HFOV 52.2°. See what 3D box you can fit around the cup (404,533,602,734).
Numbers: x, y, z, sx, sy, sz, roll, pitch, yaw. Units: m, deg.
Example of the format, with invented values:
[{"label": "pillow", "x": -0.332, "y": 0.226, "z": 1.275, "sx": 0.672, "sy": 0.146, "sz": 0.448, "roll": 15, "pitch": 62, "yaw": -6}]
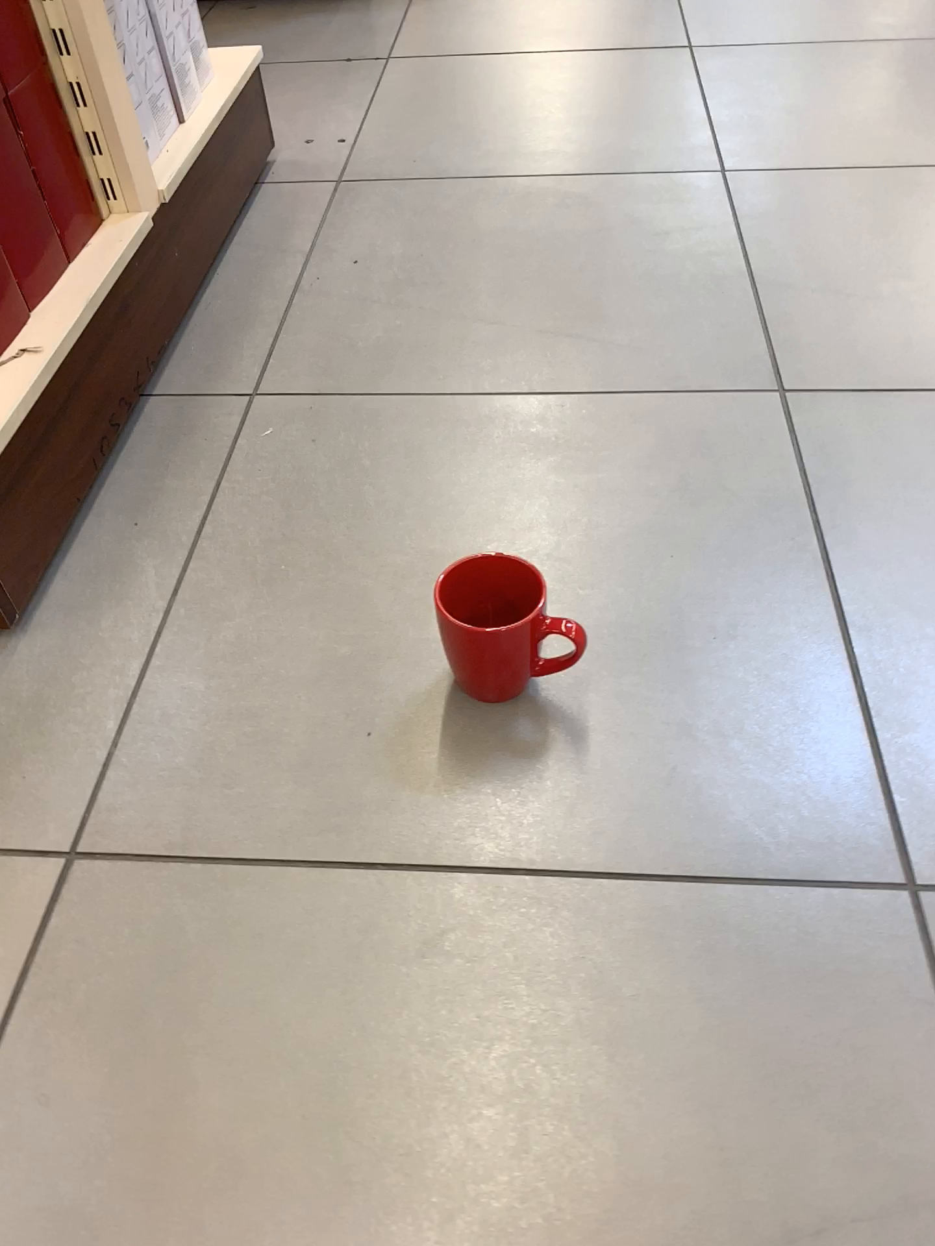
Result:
[{"label": "cup", "x": 0.030, "y": 0.006, "z": 0.737, "sx": 0.120, "sy": 0.090, "sz": 0.090, "roll": 16, "pitch": 50, "yaw": 19}]
